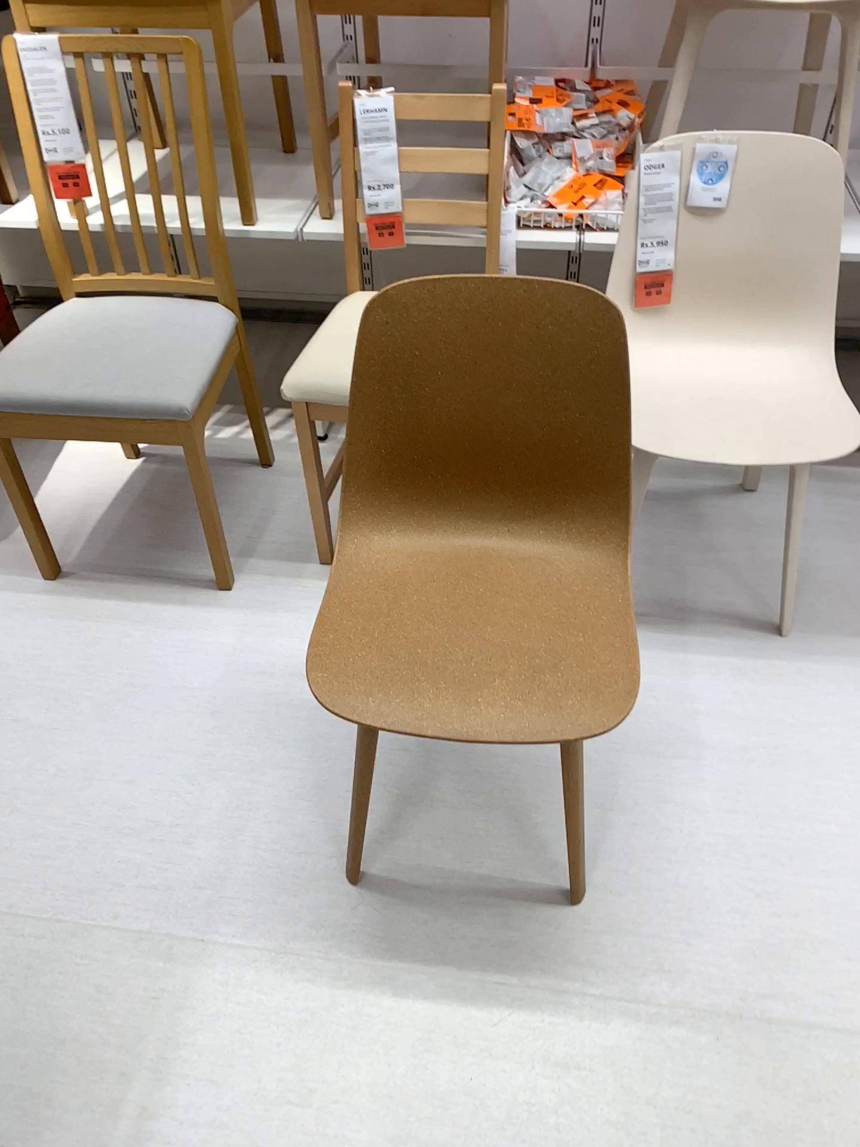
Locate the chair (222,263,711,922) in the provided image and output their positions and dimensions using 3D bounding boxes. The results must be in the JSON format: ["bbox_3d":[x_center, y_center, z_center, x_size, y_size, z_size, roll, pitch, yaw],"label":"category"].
[{"bbox_3d":[0.072,0.039,1.280,0.460,0.757,0.562,4,43,6],"label":"chair"}]
